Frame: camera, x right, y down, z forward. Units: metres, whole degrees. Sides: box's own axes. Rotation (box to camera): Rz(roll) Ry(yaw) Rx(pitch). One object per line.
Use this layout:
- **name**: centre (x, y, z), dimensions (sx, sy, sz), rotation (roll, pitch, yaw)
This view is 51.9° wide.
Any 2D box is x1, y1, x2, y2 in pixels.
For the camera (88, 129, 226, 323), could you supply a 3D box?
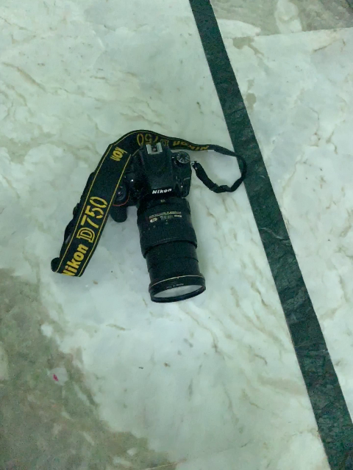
- **camera**: centre (-0.034, -0.015, 0.508), dimensions (0.139, 0.100, 0.233), rotation (-9, 67, -7)
